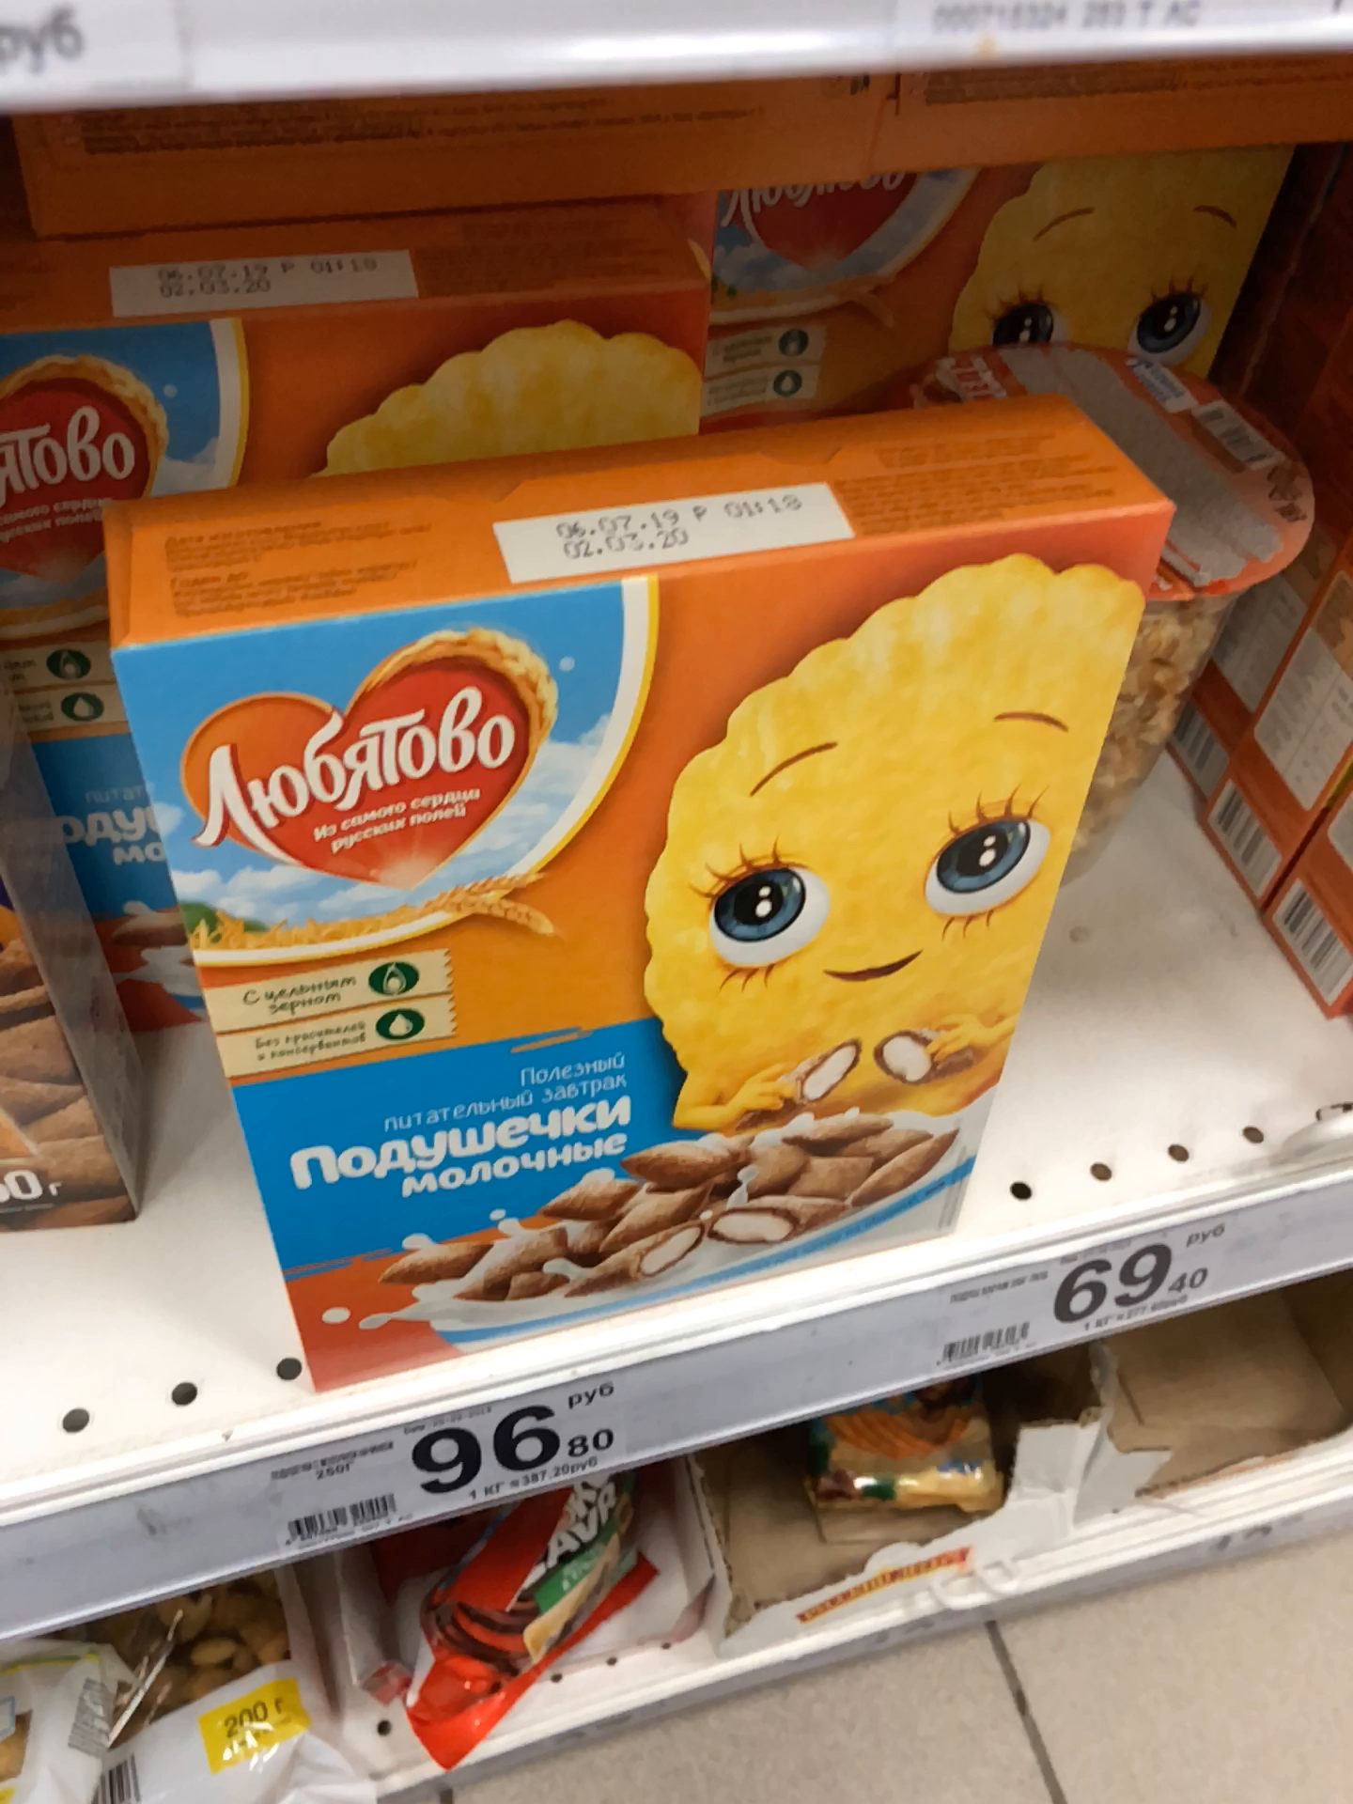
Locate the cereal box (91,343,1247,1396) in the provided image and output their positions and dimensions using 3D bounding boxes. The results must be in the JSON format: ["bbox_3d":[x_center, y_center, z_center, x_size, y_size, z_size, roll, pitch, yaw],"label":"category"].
[{"bbox_3d":[-0.005,0.008,0.324,0.180,0.229,0.050,-11,48,-14],"label":"cereal box"}]
